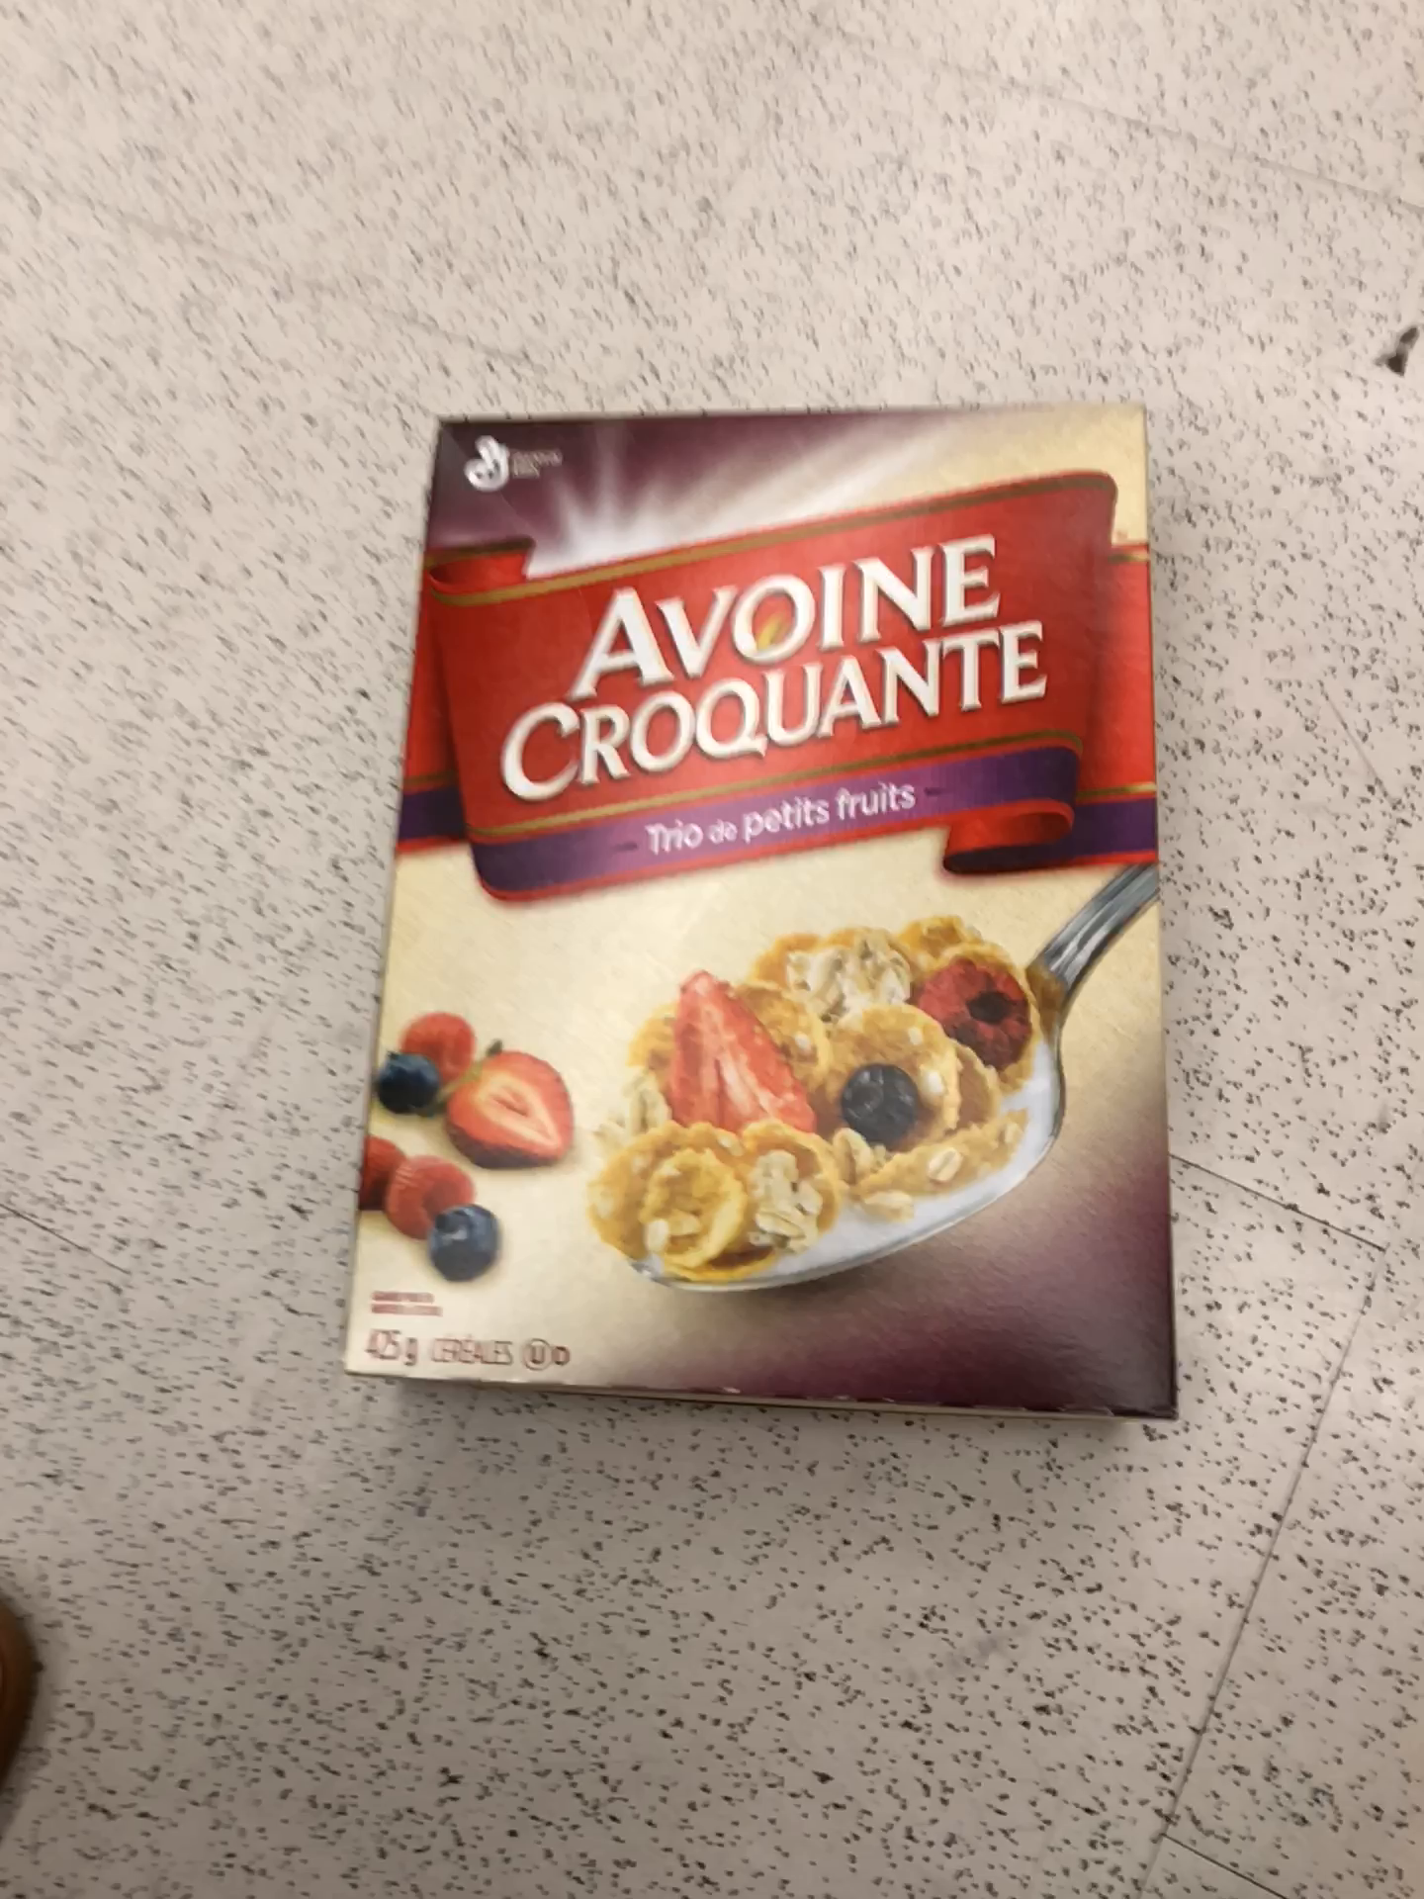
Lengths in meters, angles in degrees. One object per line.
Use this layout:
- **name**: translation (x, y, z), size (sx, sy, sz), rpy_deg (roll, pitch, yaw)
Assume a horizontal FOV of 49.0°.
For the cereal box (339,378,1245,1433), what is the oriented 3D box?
- **cereal box**: translation (0.025, -0.017, 0.425), size (0.210, 0.060, 0.270), rpy_deg (1, 75, 7)
